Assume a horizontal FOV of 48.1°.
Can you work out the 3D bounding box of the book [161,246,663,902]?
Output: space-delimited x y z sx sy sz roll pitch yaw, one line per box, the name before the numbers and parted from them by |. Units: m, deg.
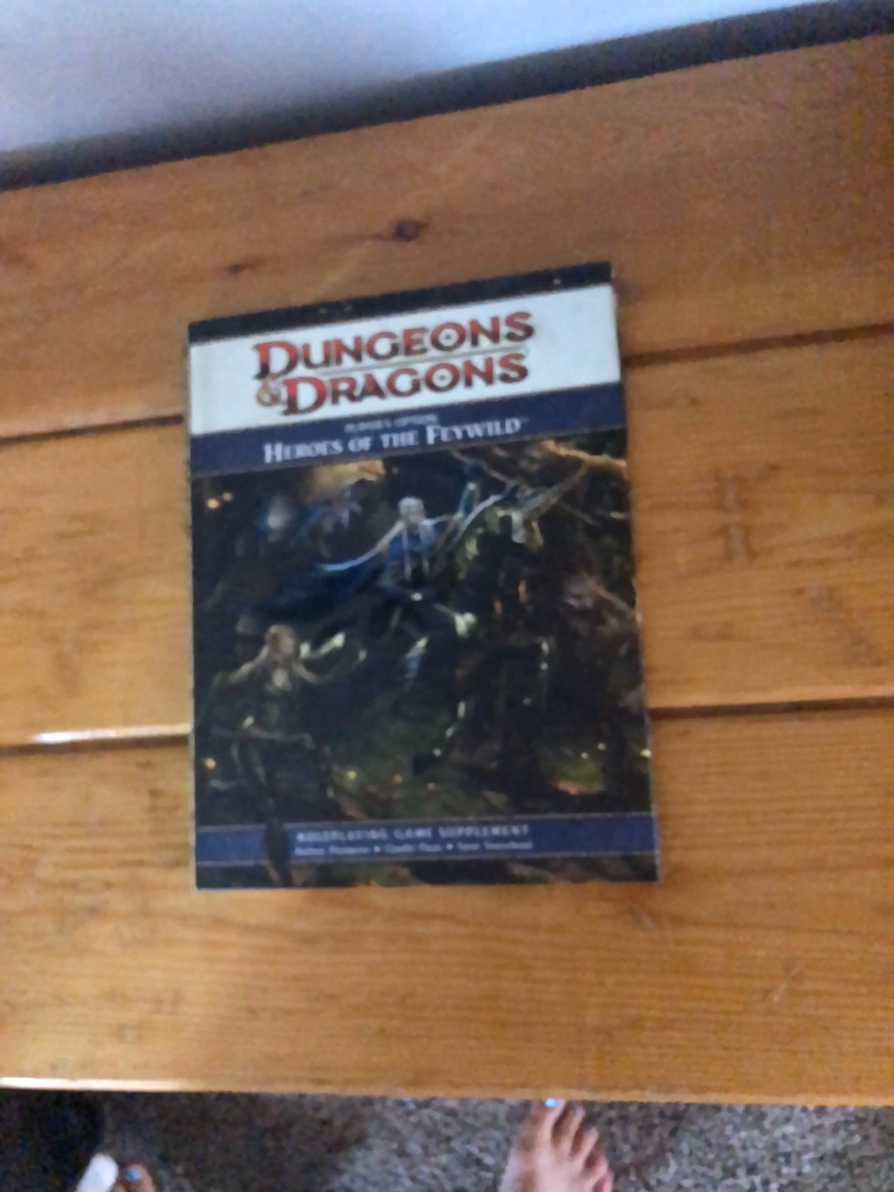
book | -0.024 -0.007 0.461 0.220 0.020 0.280 -5 83 13
